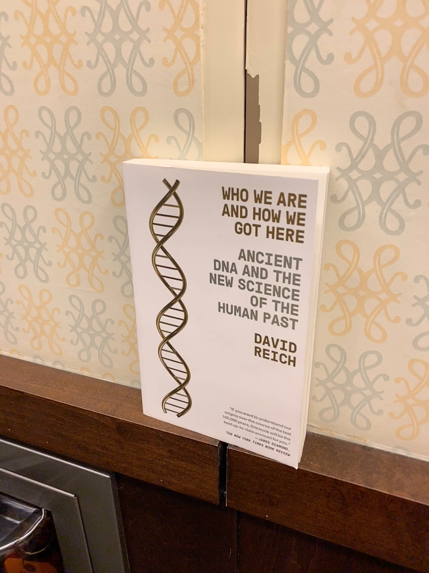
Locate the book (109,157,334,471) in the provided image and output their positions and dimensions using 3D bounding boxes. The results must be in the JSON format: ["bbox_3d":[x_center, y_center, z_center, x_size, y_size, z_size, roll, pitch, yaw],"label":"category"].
[{"bbox_3d":[0.004,0.020,0.301,0.127,0.199,0.041,7,24,17],"label":"book"}]
